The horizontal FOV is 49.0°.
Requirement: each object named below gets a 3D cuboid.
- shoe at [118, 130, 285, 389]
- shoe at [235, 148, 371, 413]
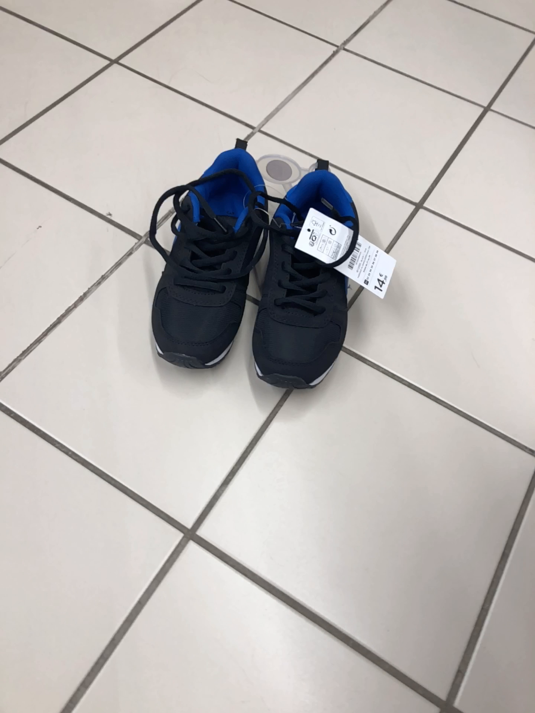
[{"bbox_3d":[-0.047,-0.089,0.492,0.085,0.061,0.218,11,58,1],"label":"shoe"},{"bbox_3d":[0.033,-0.069,0.489,0.085,0.071,0.212,9,58,0],"label":"shoe"}]
